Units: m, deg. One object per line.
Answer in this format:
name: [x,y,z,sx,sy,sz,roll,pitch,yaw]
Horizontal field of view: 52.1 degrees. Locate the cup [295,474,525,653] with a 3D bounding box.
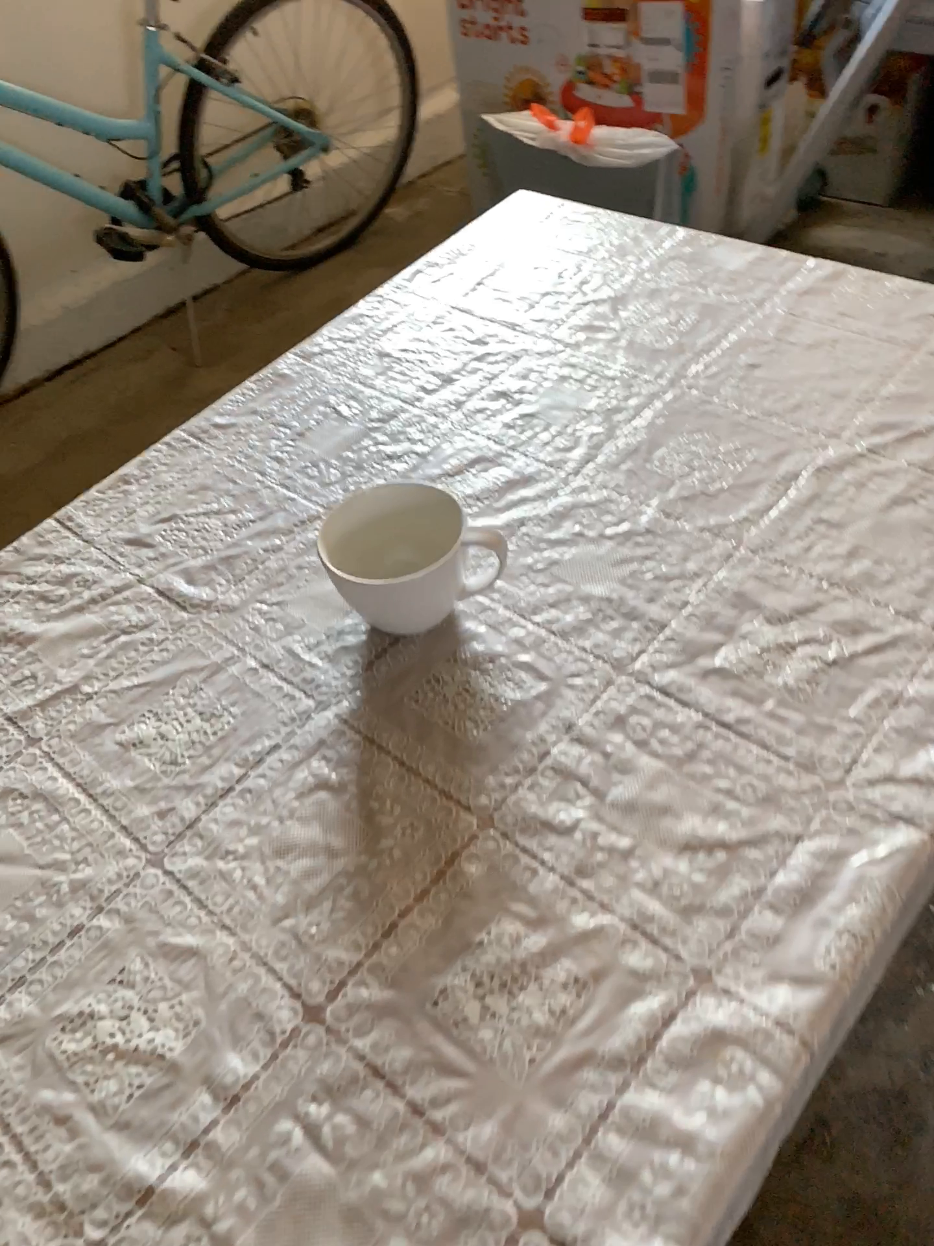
cup: [-0.034,-0.041,0.671,0.140,0.070,0.100,-1,49,9]
